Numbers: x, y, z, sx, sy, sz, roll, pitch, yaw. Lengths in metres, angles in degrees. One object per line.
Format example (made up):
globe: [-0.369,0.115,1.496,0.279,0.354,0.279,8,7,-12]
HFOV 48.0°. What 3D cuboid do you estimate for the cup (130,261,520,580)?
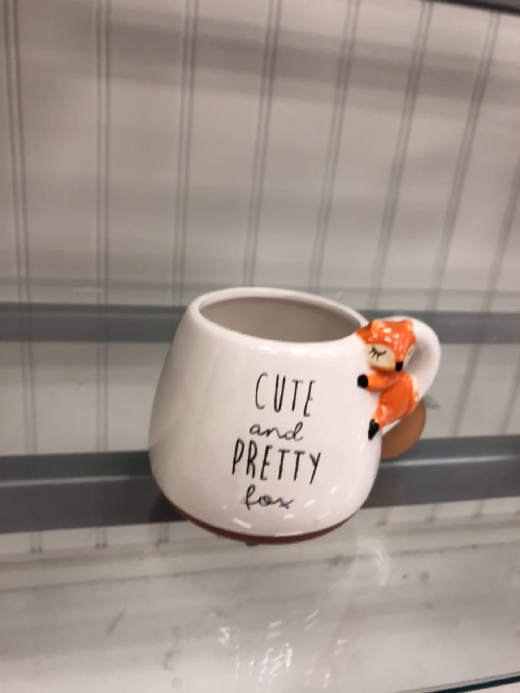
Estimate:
cup: [0.025,0.019,0.270,0.143,0.089,0.101,-6,24,-27]
